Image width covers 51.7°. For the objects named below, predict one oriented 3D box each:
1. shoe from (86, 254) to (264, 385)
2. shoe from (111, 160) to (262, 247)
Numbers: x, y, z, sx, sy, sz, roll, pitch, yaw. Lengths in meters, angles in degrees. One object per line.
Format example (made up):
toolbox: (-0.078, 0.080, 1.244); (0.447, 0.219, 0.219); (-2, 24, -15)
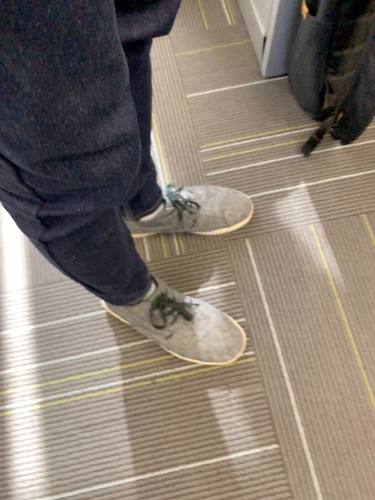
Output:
shoe: (-0.021, 0.133, 0.750); (0.299, 0.087, 0.134); (21, 71, 12)
shoe: (-0.005, -0.099, 0.839); (0.301, 0.087, 0.134); (-6, 68, 1)
